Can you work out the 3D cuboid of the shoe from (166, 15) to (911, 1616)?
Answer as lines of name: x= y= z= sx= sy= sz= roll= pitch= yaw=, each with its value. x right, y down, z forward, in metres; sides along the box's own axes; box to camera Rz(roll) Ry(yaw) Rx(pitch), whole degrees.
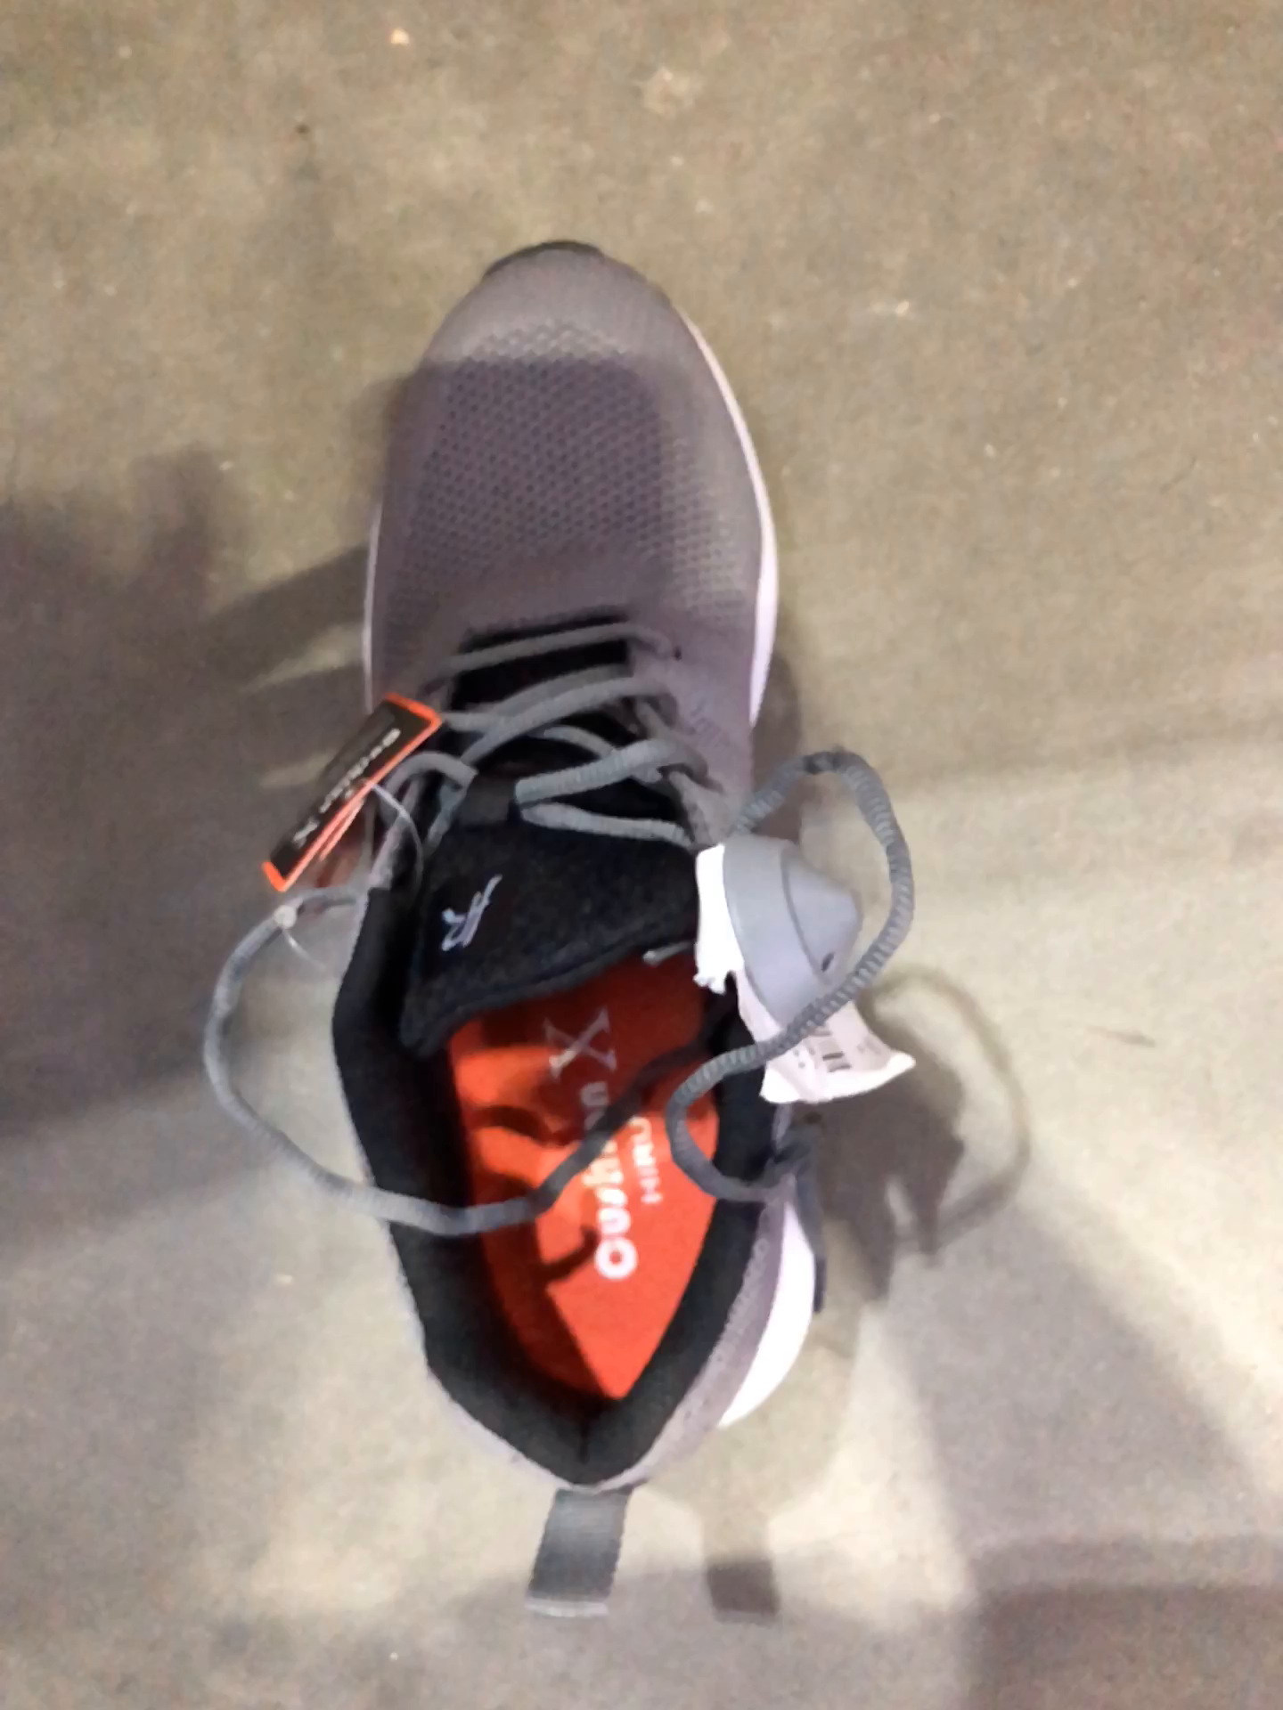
shoe: x=-0.020 y=-0.010 z=0.348 sx=0.110 sy=0.100 sz=0.320 roll=-10 pitch=83 yaw=8
